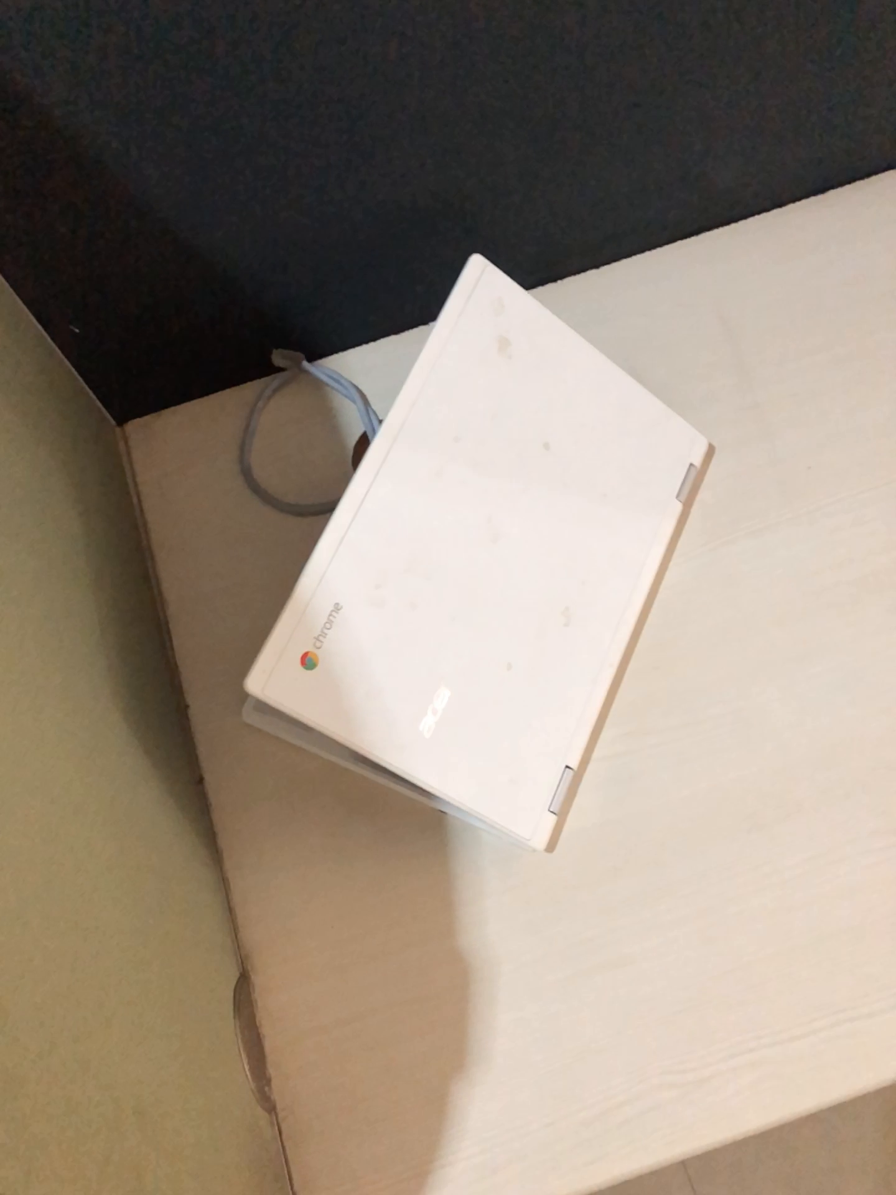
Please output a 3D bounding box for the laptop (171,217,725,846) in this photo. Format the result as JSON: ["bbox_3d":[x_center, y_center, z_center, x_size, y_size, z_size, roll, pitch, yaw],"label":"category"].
[{"bbox_3d":[0.013,-0.040,0.560,0.187,0.115,0.285,21,72,12],"label":"laptop"}]
